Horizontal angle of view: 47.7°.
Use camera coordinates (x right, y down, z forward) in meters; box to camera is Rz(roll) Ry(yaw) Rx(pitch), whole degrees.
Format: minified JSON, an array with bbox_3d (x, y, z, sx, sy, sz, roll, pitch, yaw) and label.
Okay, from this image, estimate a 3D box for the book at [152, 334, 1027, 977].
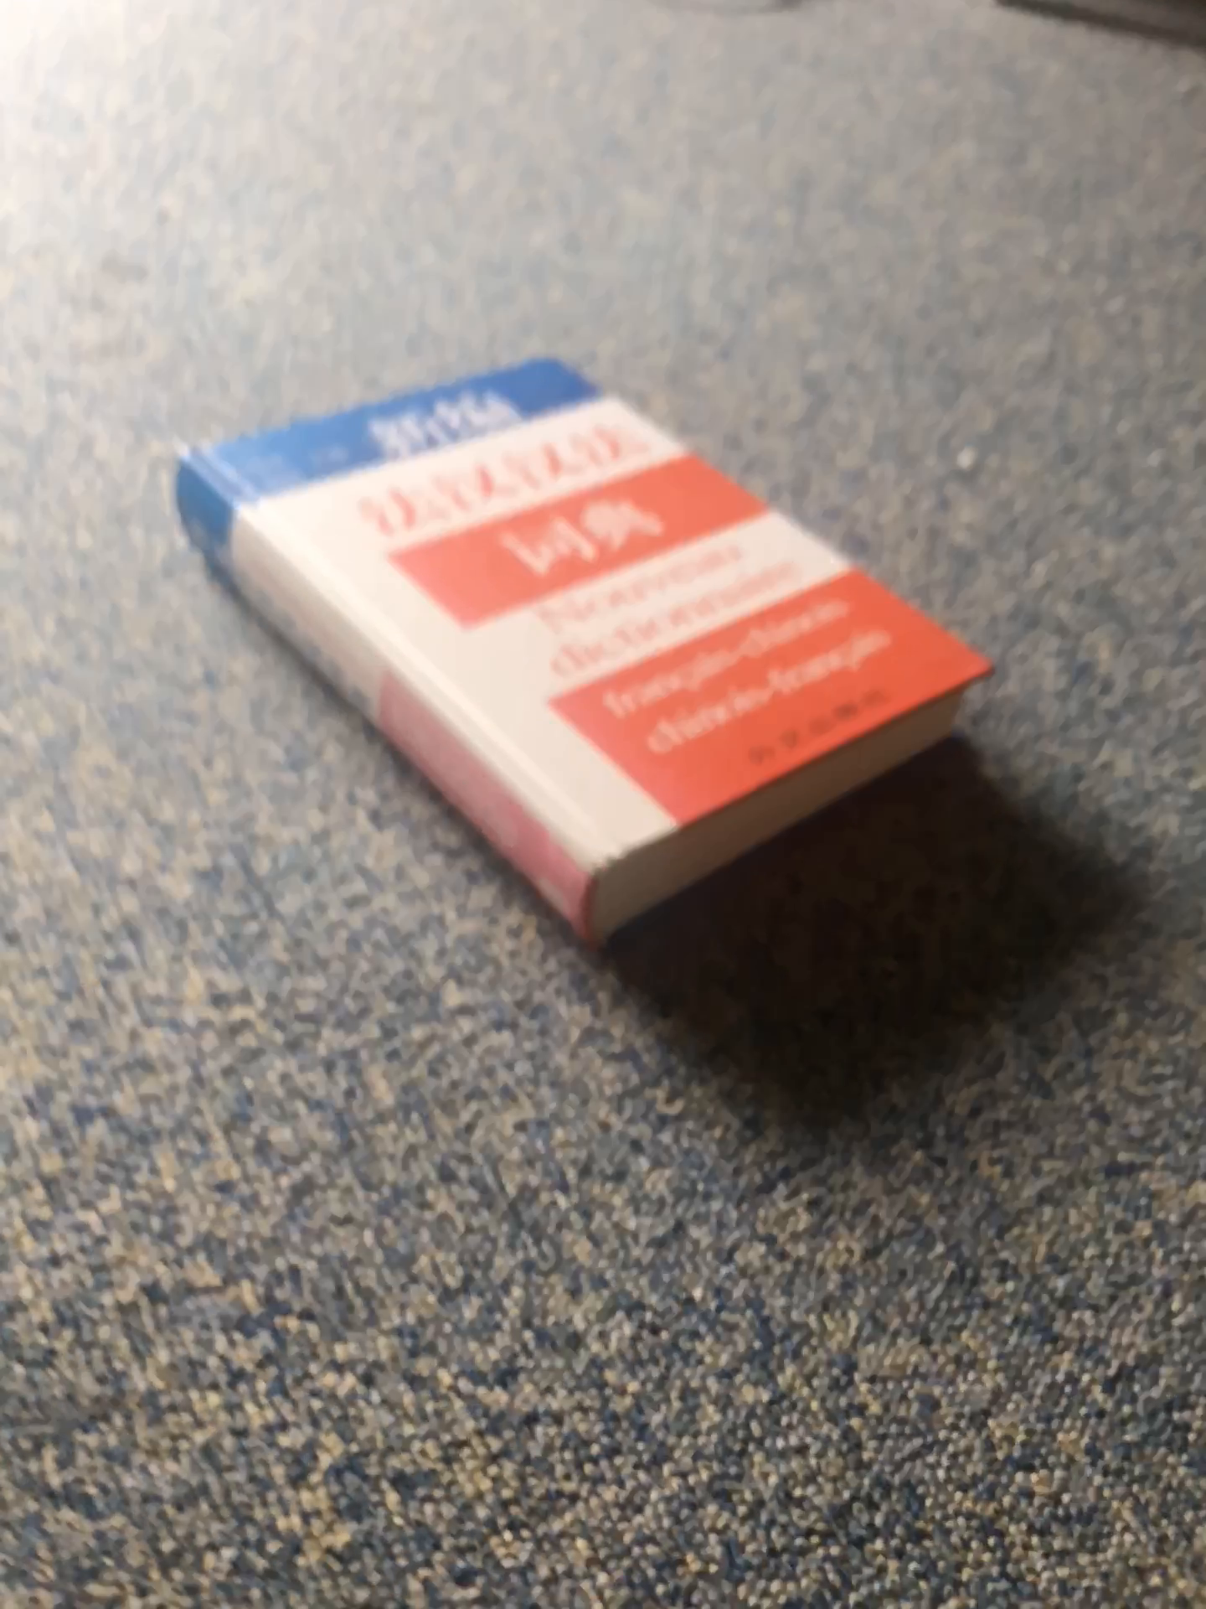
[{"bbox_3d":[-0.010,-0.063,0.399,0.153,0.034,0.209,-26,54,-31],"label":"book"}]
